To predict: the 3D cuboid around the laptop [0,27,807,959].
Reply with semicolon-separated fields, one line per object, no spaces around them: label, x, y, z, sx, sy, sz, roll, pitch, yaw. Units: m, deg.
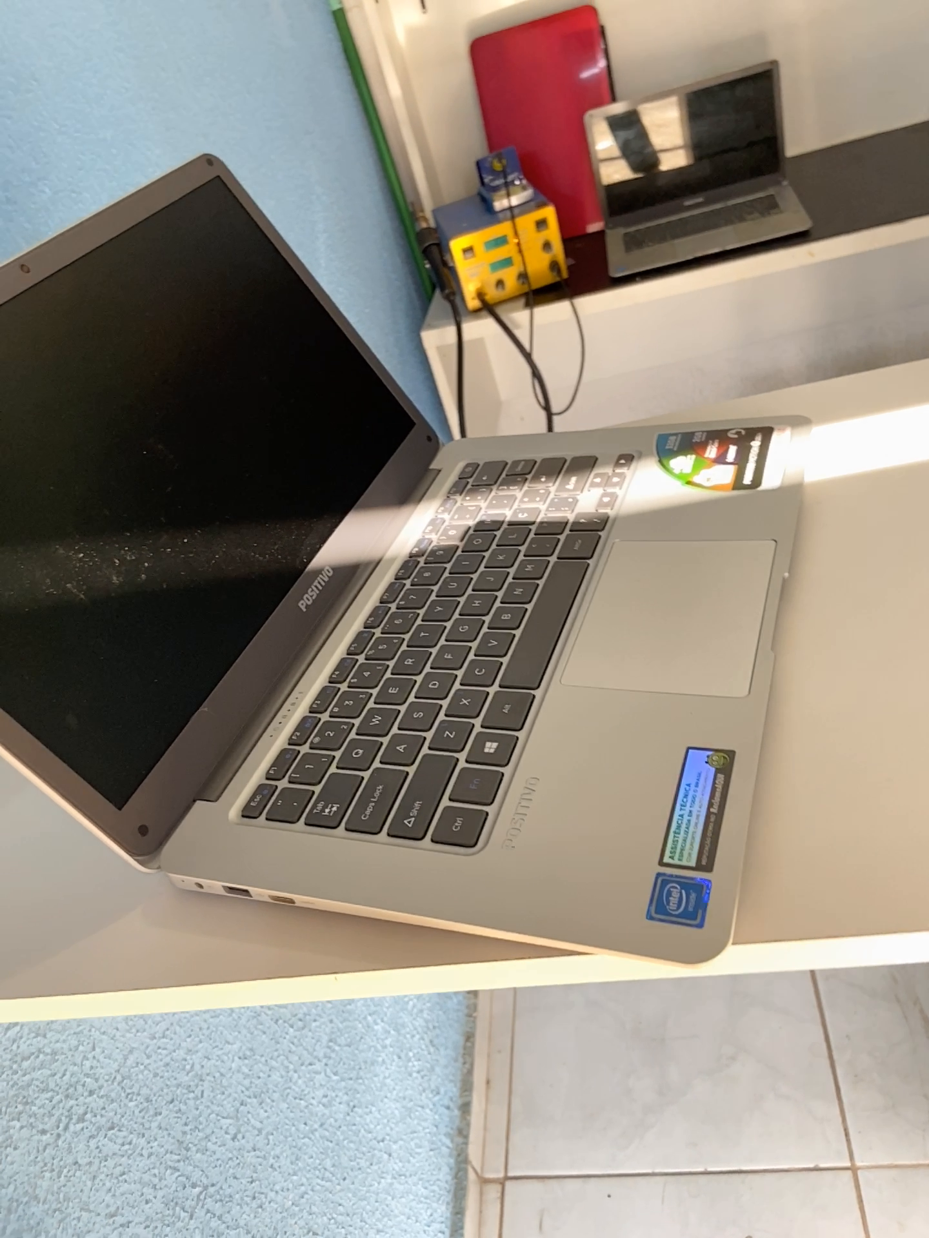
laptop;-0.039;-0.079;0.410;0.311;0.189;0.334;0;39;25
